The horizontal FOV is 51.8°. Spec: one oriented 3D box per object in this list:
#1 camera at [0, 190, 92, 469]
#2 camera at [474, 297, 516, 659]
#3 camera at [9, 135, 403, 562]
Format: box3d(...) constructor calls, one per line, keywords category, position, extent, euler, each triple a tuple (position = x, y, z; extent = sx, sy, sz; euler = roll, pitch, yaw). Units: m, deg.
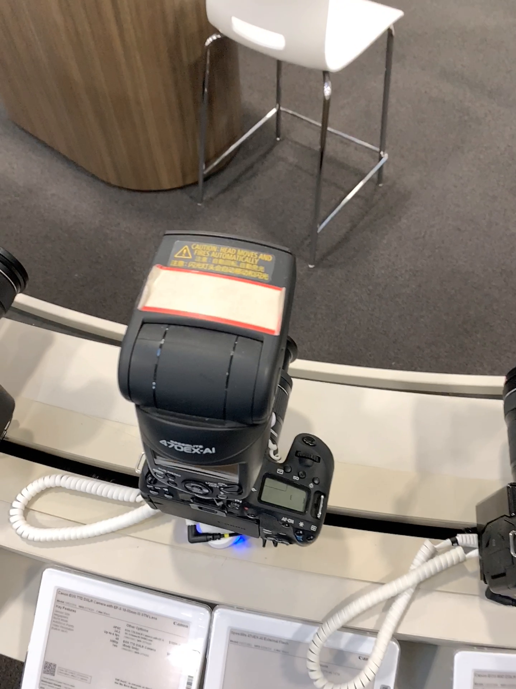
box3d(category="camera", position=(-0.267, -0.018, 0.468), extent=(0.140, 0.100, 0.201), euler=(12, 60, 10))
box3d(category="camera", position=(0.234, 0.082, 0.346), extent=(0.140, 0.100, 0.191), euler=(7, 59, 6))
box3d(category="camera", position=(-0.010, 0.018, 0.354), extent=(0.150, 0.219, 0.170), euler=(12, 60, 9))
